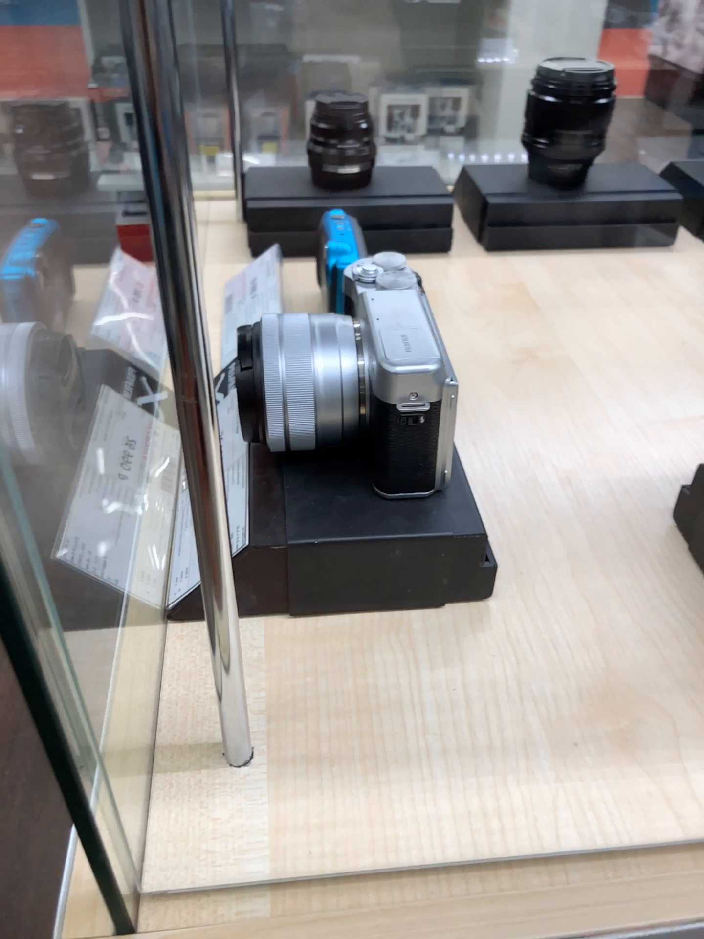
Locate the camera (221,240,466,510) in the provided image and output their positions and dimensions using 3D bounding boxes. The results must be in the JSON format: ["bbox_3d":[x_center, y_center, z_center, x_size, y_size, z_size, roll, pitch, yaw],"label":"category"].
[{"bbox_3d":[-0.010,-0.049,0.362,0.093,0.070,0.120,-3,37,-6],"label":"camera"}]

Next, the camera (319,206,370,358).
[{"bbox_3d":[-0.007,-0.132,0.542,0.025,0.064,0.107,-2,37,-5],"label":"camera"}]
